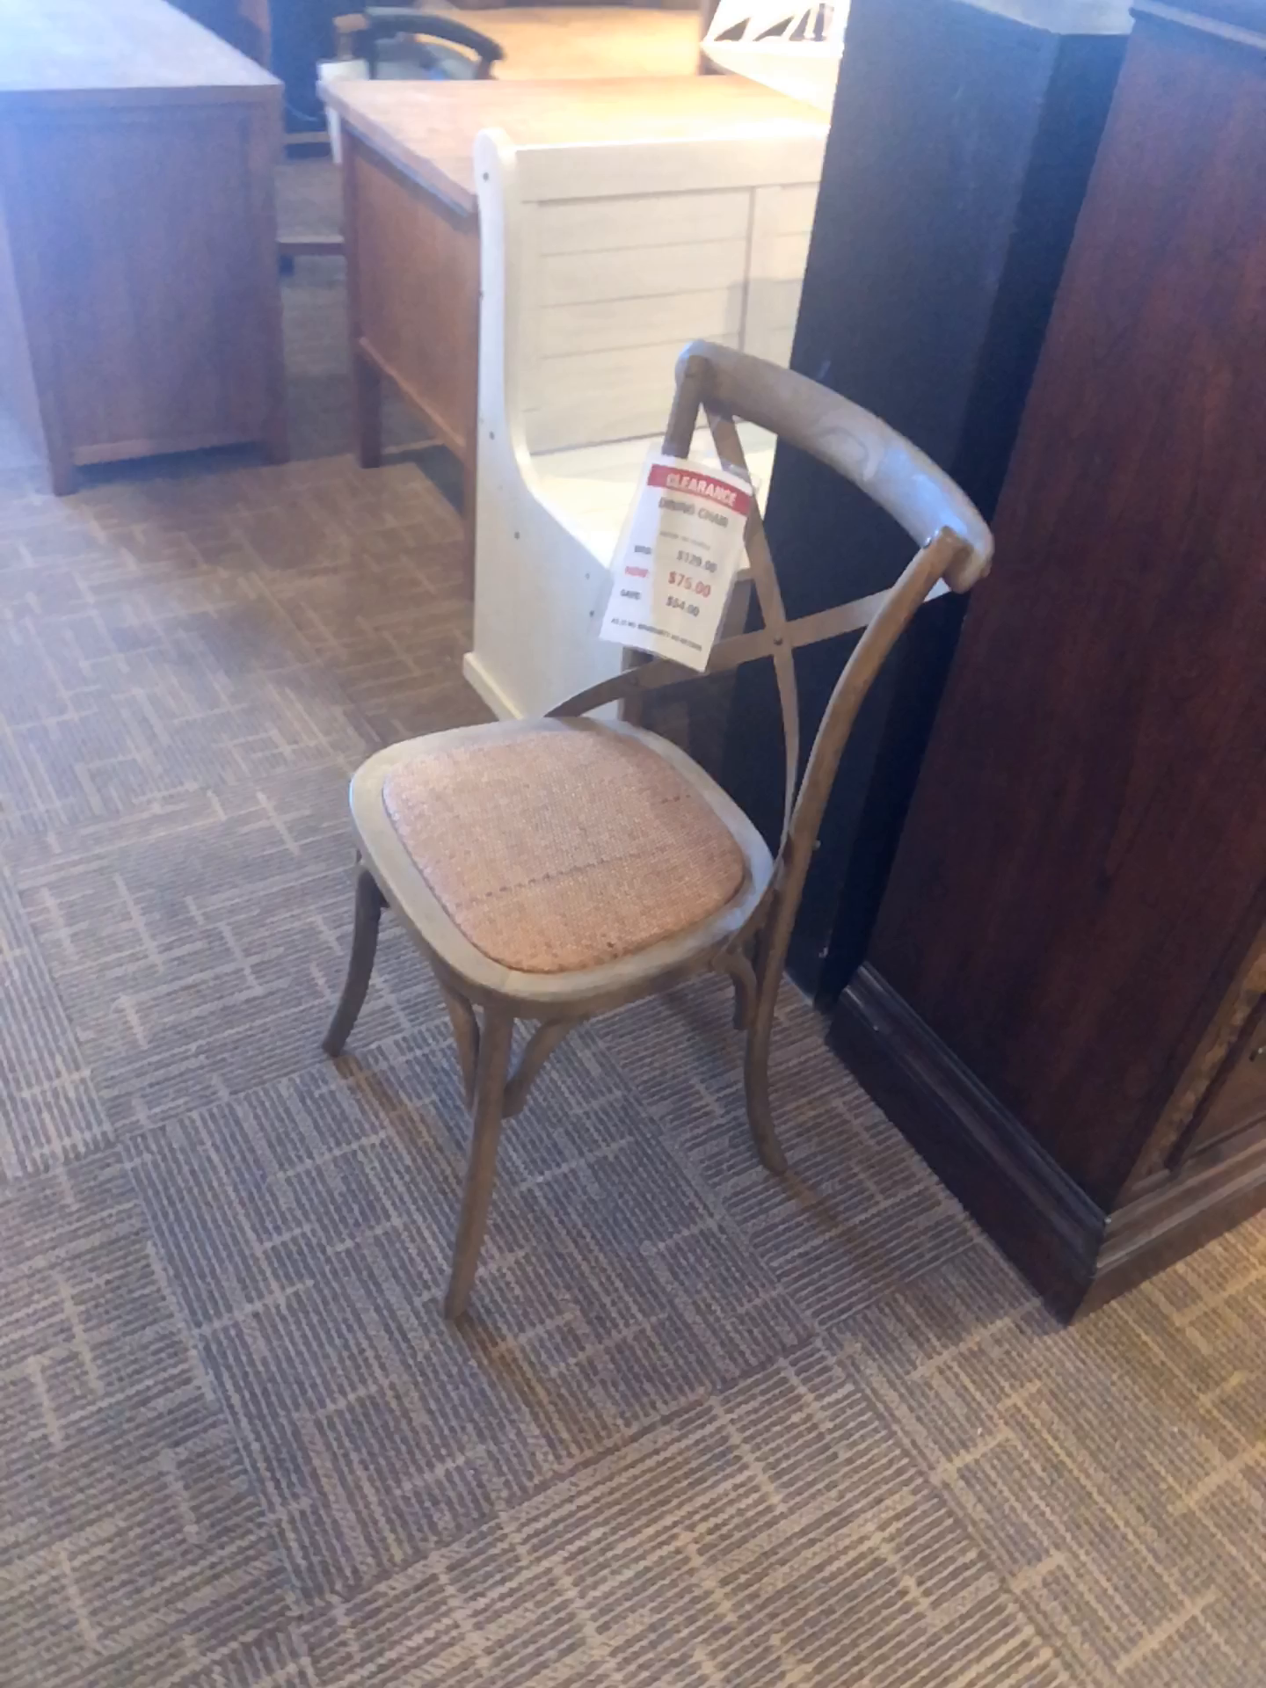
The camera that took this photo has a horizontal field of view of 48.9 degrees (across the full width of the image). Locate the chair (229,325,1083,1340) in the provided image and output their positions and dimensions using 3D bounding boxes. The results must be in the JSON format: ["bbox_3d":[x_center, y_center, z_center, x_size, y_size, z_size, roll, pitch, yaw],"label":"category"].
[{"bbox_3d":[-0.033,-0.021,1.463,0.566,0.813,0.517,-15,44,-24],"label":"chair"}]
